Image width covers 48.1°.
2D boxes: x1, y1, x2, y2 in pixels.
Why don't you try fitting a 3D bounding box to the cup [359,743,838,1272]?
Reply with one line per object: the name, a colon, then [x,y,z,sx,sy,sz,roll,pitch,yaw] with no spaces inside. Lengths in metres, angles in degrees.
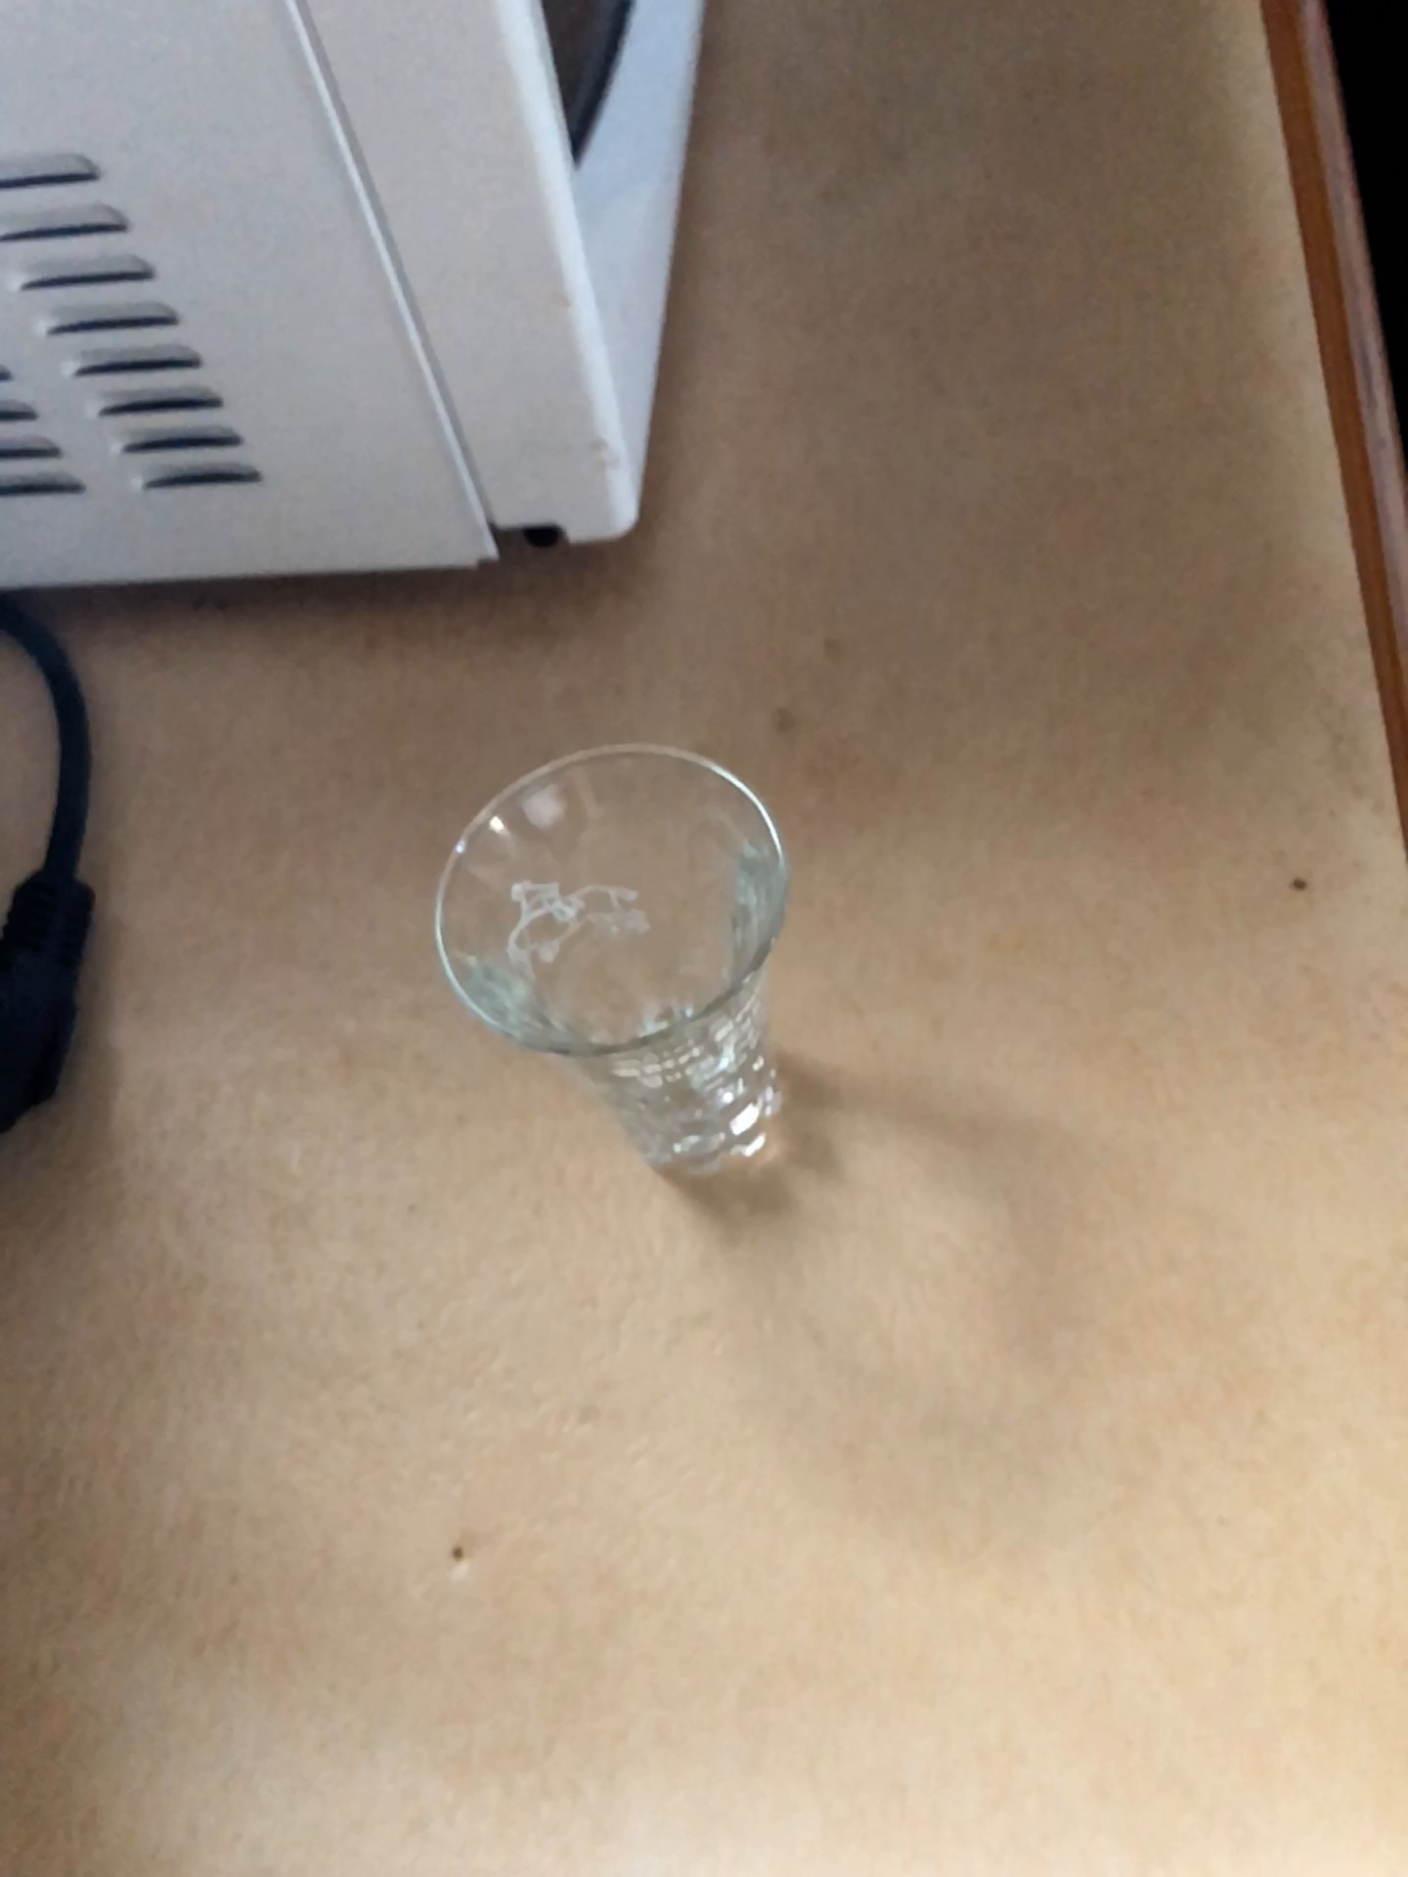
cup: [-0.011,0.013,0.249,0.050,0.070,0.050,-5,58,8]
